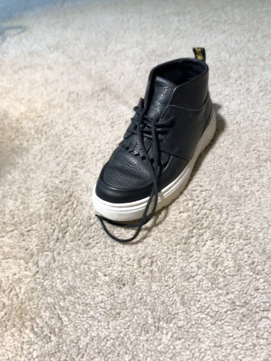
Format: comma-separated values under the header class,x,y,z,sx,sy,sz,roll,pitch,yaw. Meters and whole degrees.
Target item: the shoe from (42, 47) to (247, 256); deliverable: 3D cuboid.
class,x,y,z,sx,sy,sz,roll,pitch,yaw
shoe,0.031,-0.056,0.389,0.107,0.111,0.263,25,56,28
